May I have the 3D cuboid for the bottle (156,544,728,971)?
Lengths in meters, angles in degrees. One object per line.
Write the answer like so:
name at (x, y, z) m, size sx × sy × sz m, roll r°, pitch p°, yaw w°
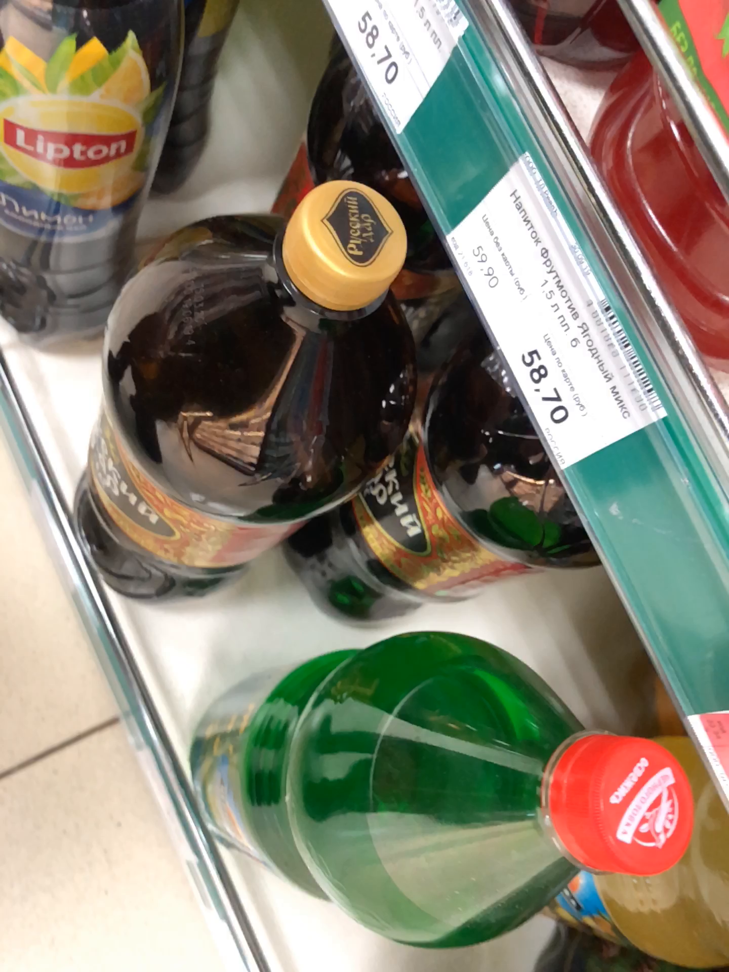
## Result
bottle at (-0.008, 0.115, 0.327) m, size 0.085 × 0.328 × 0.099 m, roll -18°, pitch 82°, yaw -24°

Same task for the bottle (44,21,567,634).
bottle at (-0.065, -0.023, 0.345) m, size 0.100 × 0.323 × 0.110 m, roll 6°, pitch 73°, yaw -19°
